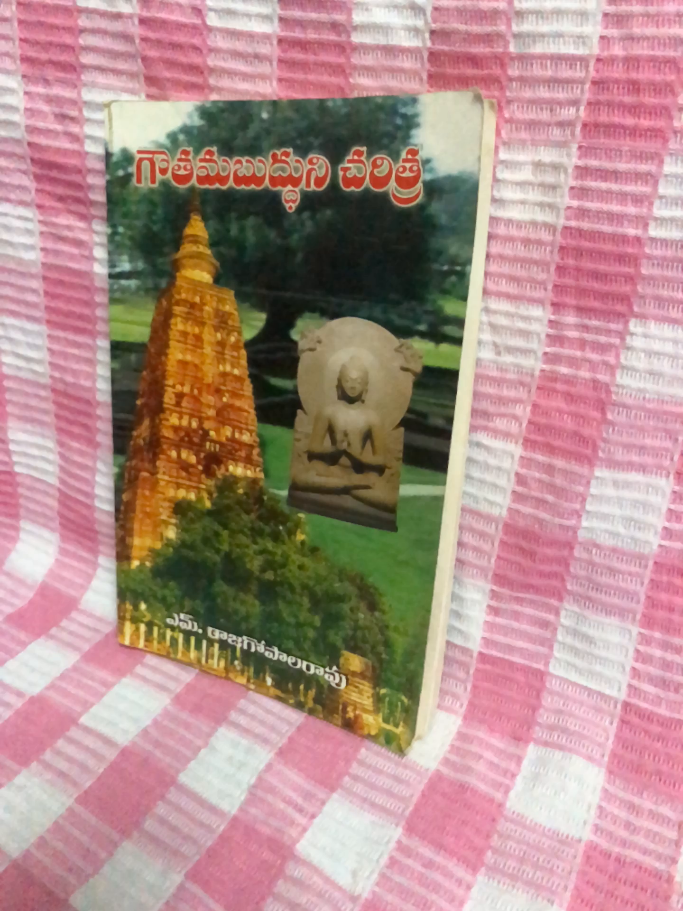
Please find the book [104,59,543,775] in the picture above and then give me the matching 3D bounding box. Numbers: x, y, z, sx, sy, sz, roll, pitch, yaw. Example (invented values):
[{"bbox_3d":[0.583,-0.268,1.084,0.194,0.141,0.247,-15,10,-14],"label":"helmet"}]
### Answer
[{"bbox_3d":[-0.019,-0.016,0.264,0.140,0.209,0.030,13,15,28],"label":"book"}]
